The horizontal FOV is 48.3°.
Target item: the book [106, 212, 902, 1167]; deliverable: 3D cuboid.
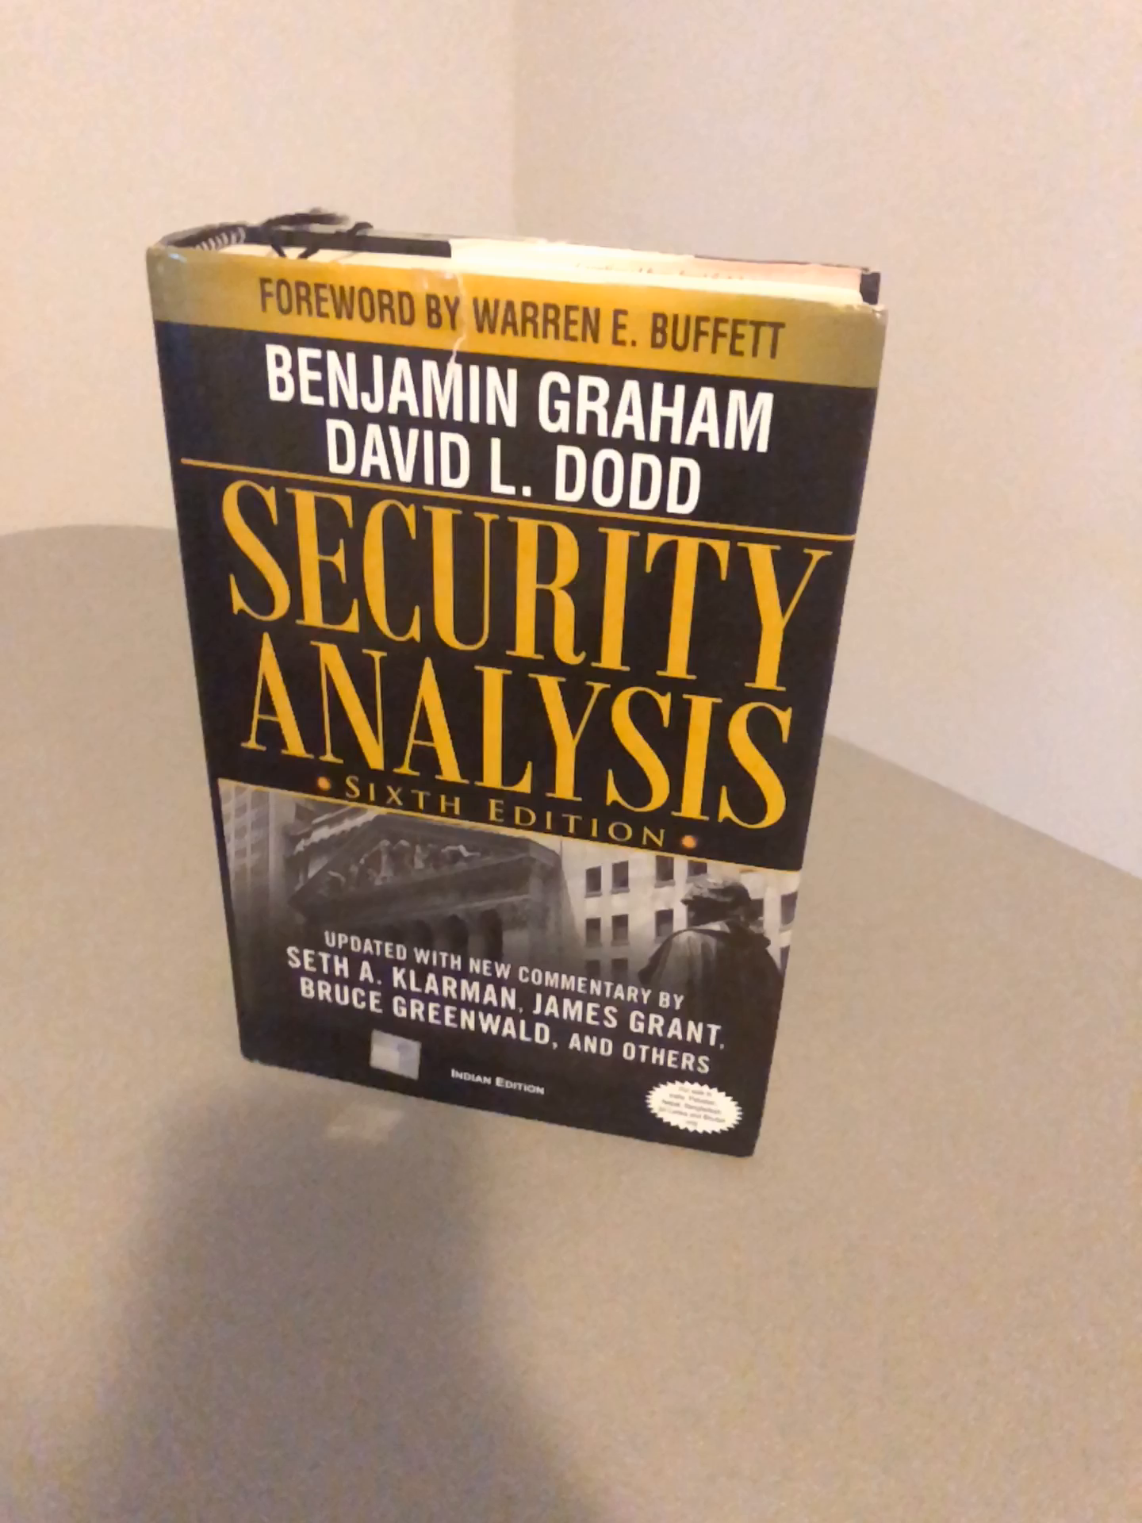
[{"bbox_3d":[-0.016,-0.011,0.332,0.164,0.230,0.047,8,31,11],"label":"book"}]
